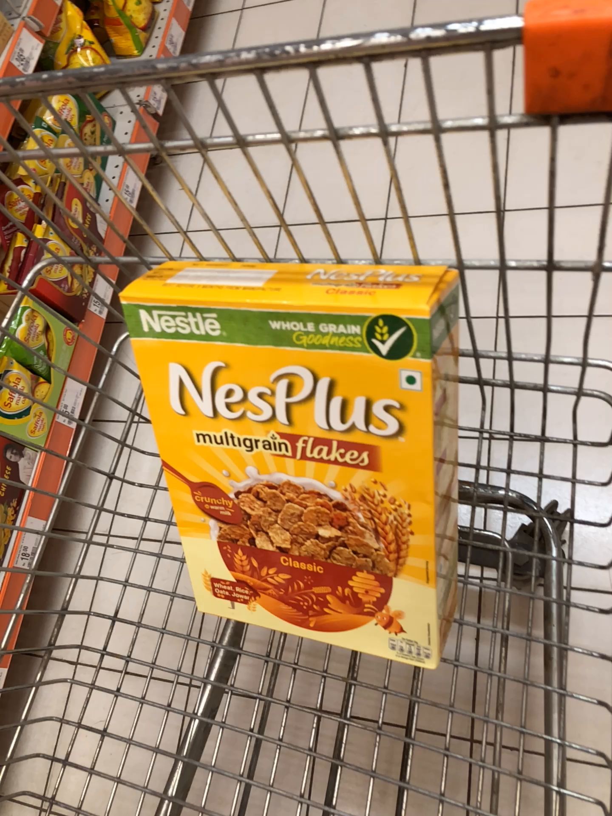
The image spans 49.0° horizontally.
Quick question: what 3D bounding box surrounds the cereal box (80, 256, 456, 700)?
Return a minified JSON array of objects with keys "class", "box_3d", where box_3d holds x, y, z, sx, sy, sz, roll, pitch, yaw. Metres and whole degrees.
[{"class":"cereal box","box_3d":[-0.010,0.040,0.430,0.190,0.249,0.090,6,30,22]}]
